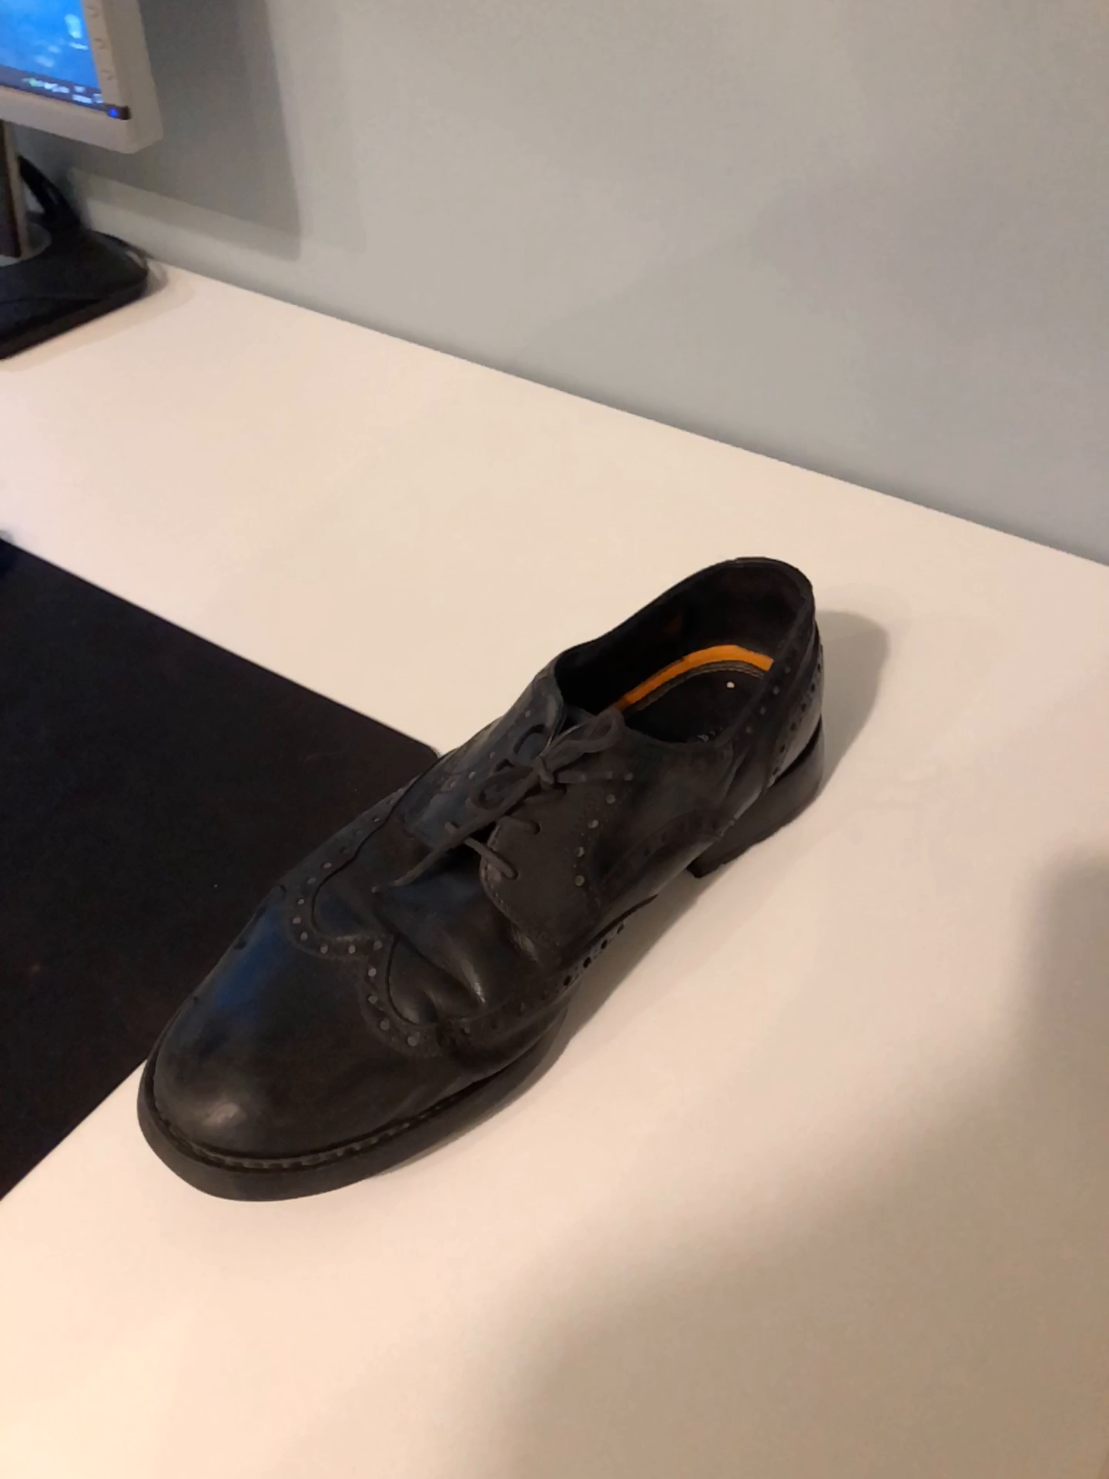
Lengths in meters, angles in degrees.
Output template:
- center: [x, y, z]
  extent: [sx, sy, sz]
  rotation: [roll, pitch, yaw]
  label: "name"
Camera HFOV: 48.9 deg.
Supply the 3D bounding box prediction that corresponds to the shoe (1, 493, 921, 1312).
- center: [-0.012, 0.031, 0.439]
  extent: [0.119, 0.079, 0.314]
  rotation: [33, 53, 31]
  label: "shoe"
